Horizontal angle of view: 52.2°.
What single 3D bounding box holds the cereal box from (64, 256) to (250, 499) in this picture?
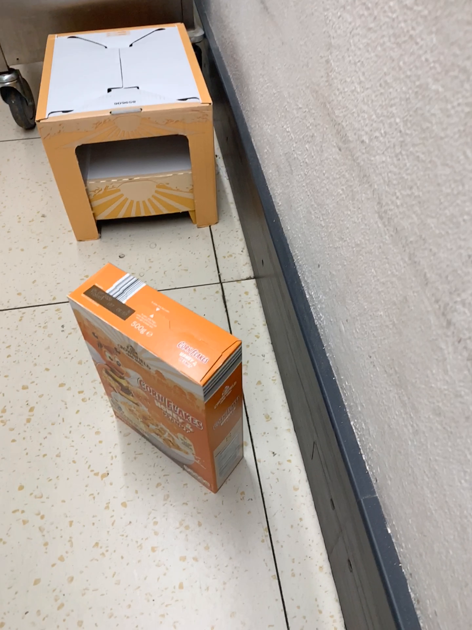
[{"bbox_3d":[-0.085,0.088,0.599,0.201,0.268,0.070,30,55,25],"label":"cereal box"}]
